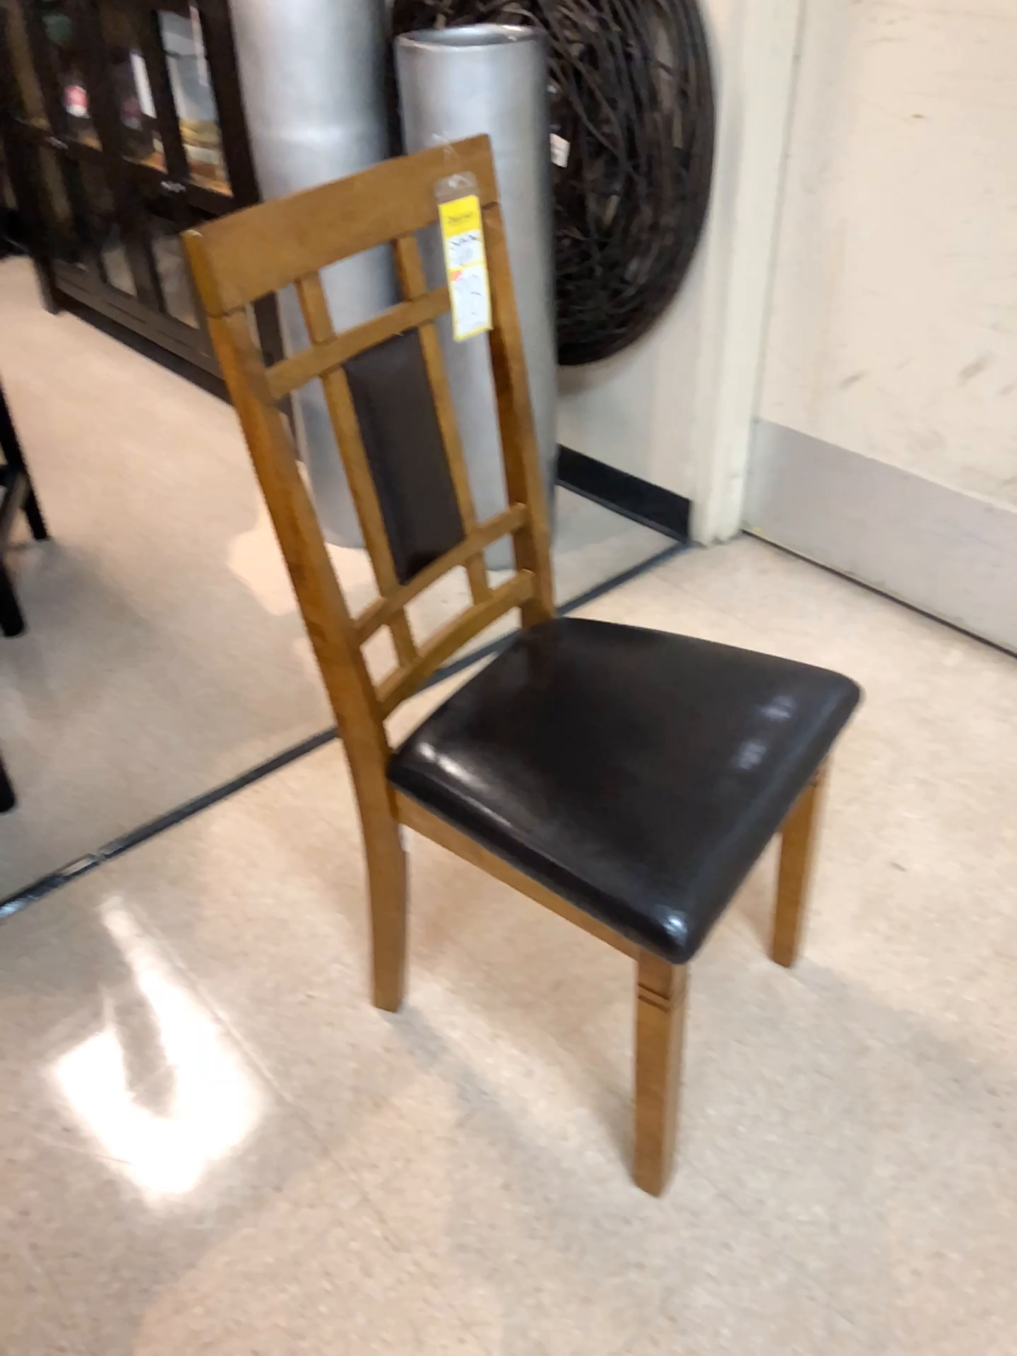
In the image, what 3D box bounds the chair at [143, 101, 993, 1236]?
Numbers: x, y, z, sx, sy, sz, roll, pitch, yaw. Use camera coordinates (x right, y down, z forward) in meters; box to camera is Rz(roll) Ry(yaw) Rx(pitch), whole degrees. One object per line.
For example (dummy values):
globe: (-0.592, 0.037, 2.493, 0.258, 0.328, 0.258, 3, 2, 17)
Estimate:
chair: (0.069, 0.008, 1.161, 0.501, 0.993, 0.452, 21, 42, 27)
